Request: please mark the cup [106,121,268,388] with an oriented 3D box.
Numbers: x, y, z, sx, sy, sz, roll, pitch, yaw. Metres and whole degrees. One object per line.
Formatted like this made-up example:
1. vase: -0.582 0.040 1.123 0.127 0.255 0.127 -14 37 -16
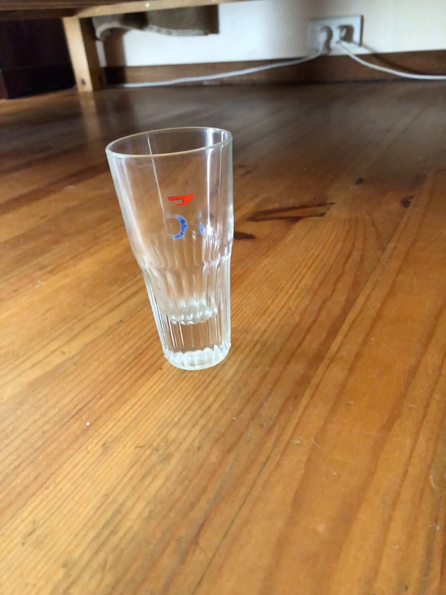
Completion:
1. cup: -0.018 -0.025 0.264 0.064 0.117 0.069 -4 28 2
